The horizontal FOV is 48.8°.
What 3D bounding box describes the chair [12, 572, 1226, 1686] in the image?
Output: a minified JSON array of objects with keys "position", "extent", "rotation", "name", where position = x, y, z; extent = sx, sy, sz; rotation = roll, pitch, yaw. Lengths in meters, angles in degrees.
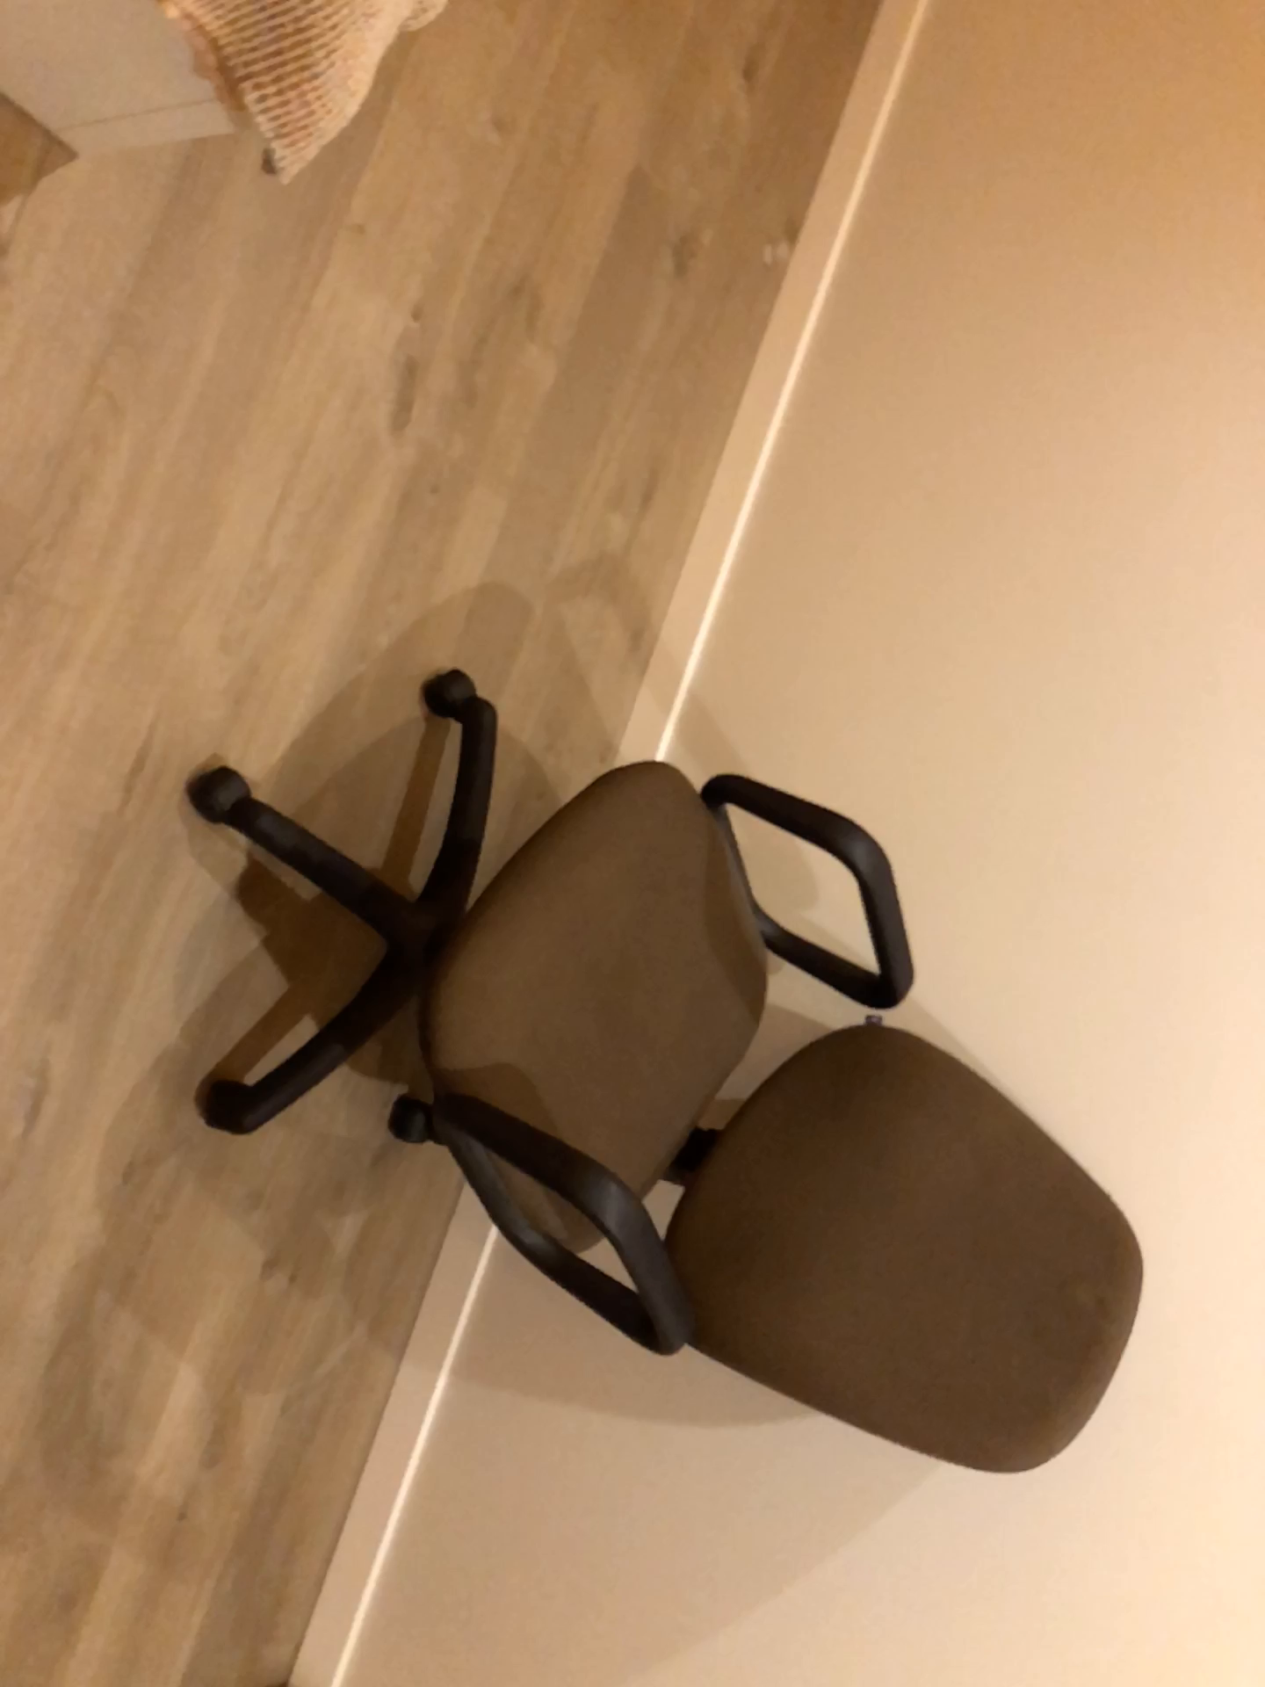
[{"position":[0.024,0.225,1.521],"extent":[0.632,0.975,0.712],"rotation":[-50,136,-30],"name":"chair"}]
